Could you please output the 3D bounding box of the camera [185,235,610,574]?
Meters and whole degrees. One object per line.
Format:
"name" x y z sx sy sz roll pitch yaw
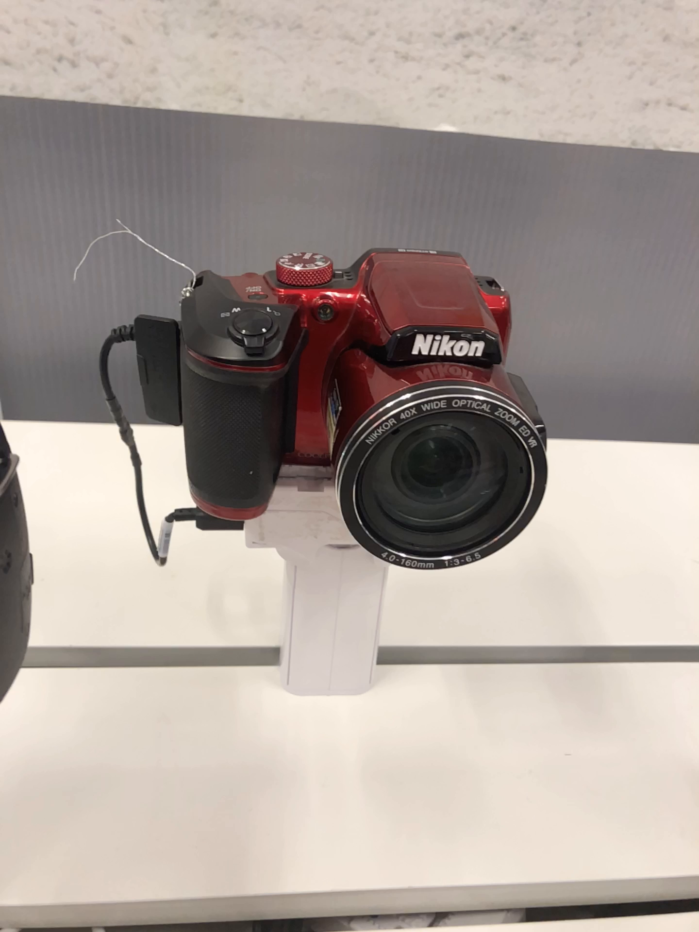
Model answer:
"camera" 0.007 -0.022 0.253 0.110 0.073 0.084 2 33 -7
